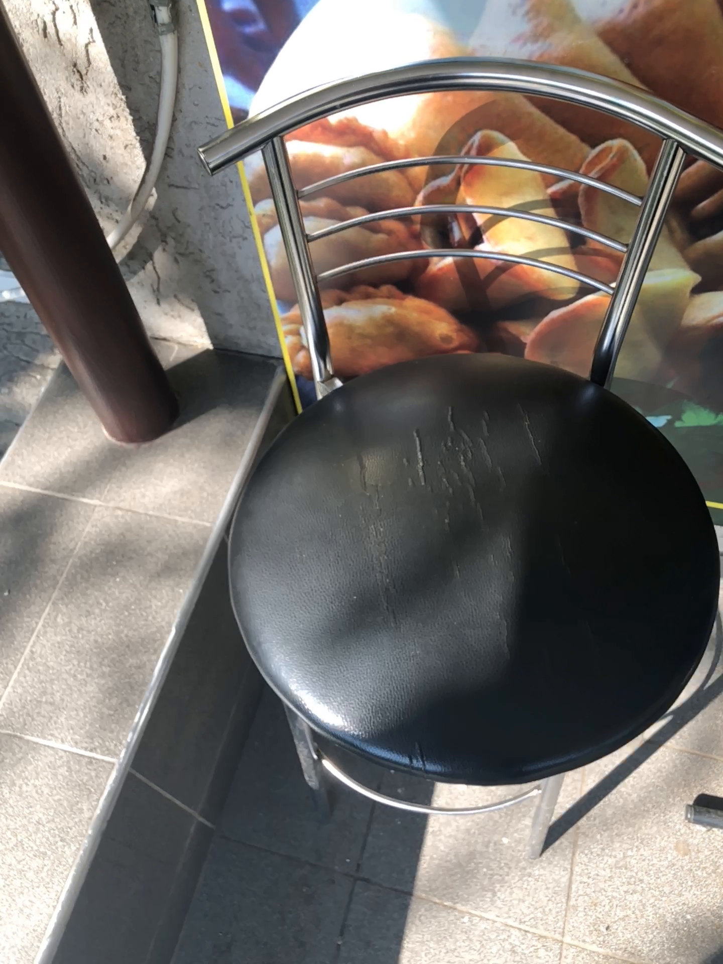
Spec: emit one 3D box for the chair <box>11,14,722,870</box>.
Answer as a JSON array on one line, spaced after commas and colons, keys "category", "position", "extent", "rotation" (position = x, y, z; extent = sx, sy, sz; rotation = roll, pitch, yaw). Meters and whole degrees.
[{"category": "chair", "position": [0.116, 0.132, 1.001], "extent": [0.510, 1.097, 0.501], "rotation": [-2, 57, 4]}]
